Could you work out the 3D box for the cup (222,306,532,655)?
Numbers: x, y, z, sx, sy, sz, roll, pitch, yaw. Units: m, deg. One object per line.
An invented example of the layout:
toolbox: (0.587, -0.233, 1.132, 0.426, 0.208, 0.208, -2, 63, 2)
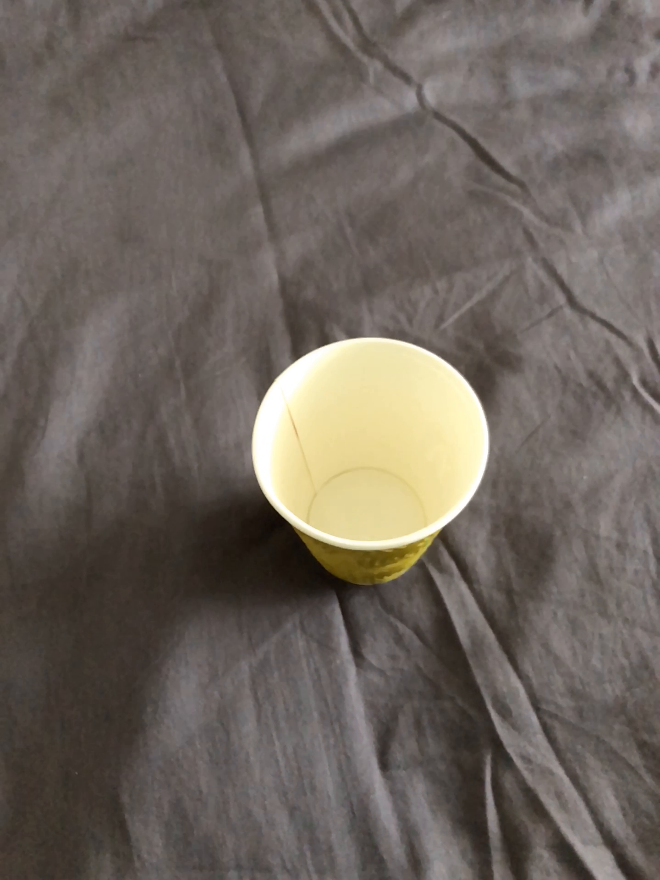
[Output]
cup: (0.014, 0.022, 0.312, 0.098, 0.101, 0.108, -1, 64, 2)
